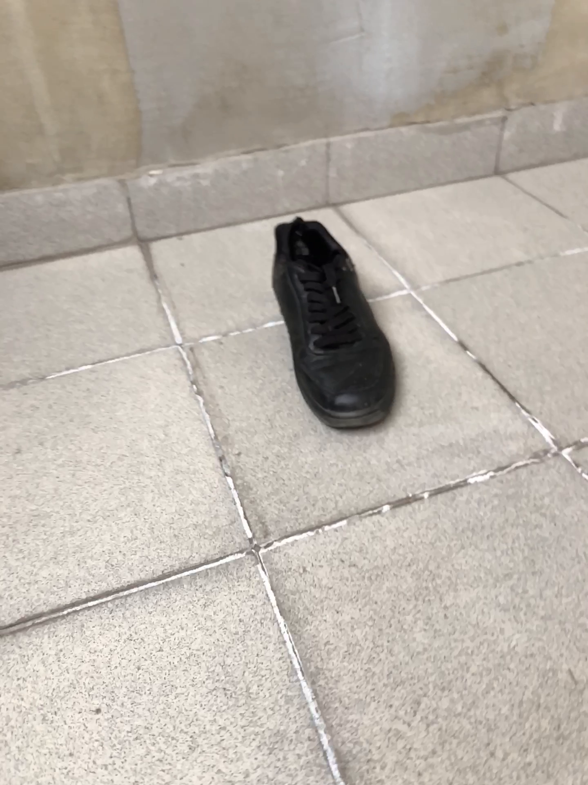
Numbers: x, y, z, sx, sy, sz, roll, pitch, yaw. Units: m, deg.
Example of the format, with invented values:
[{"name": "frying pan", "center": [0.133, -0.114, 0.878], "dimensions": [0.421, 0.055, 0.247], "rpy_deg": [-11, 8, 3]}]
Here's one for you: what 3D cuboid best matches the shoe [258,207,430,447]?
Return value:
[{"name": "shoe", "center": [0.038, -0.086, 0.698], "dimensions": [0.110, 0.099, 0.292], "rpy_deg": [-7, 41, -8]}]
